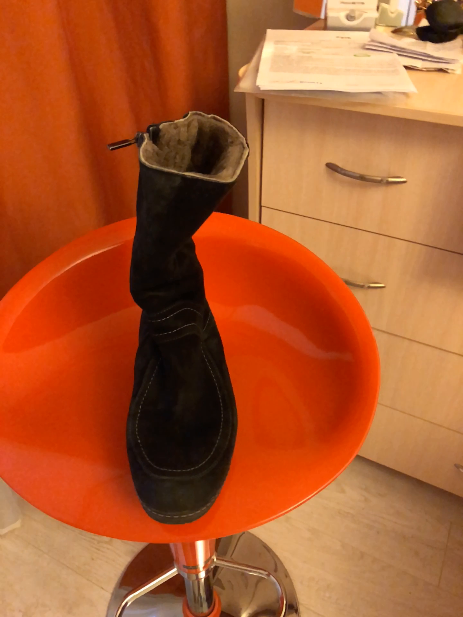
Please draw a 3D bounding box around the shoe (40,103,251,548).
[{"bbox_3d":[-0.054,0.004,0.421,0.100,0.248,0.262,-5,40,-5],"label":"shoe"}]
